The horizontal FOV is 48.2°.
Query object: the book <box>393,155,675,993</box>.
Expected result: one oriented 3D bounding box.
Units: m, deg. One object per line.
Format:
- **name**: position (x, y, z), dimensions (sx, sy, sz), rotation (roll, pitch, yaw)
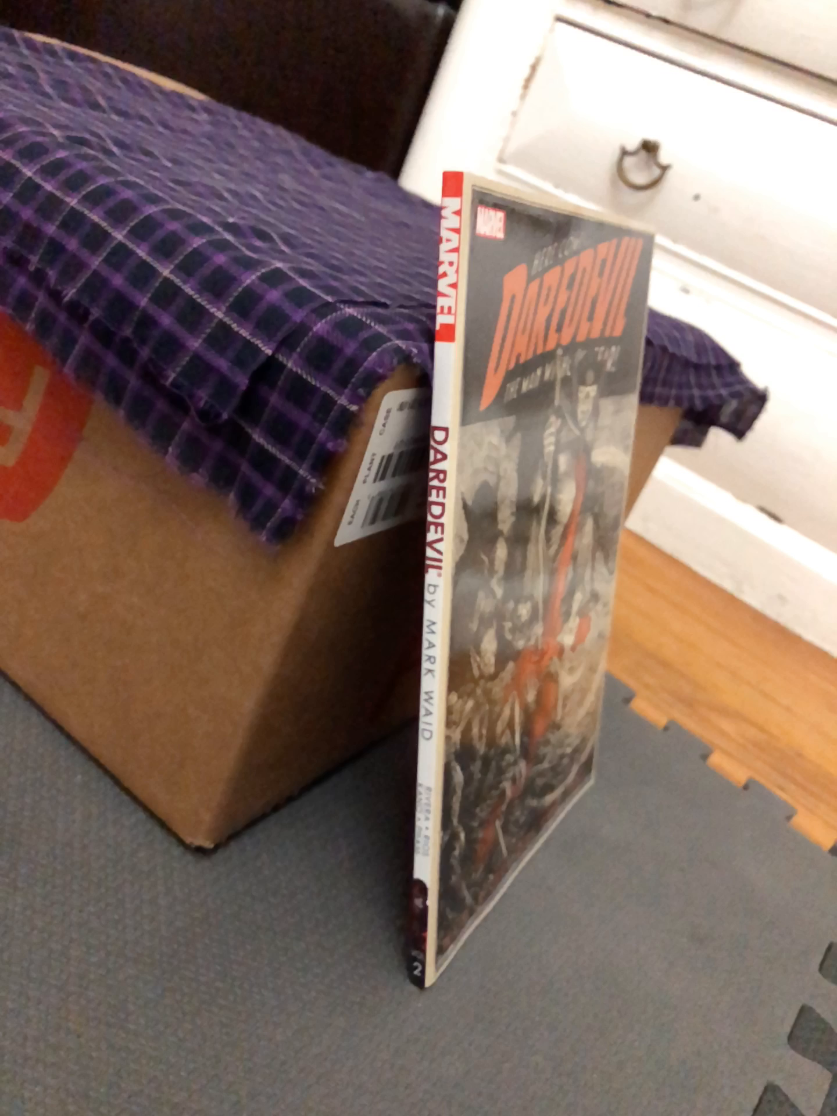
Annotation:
- **book**: position (0.045, -0.001, 0.319), dimensions (0.020, 0.229, 0.161), rotation (10, 17, 27)
